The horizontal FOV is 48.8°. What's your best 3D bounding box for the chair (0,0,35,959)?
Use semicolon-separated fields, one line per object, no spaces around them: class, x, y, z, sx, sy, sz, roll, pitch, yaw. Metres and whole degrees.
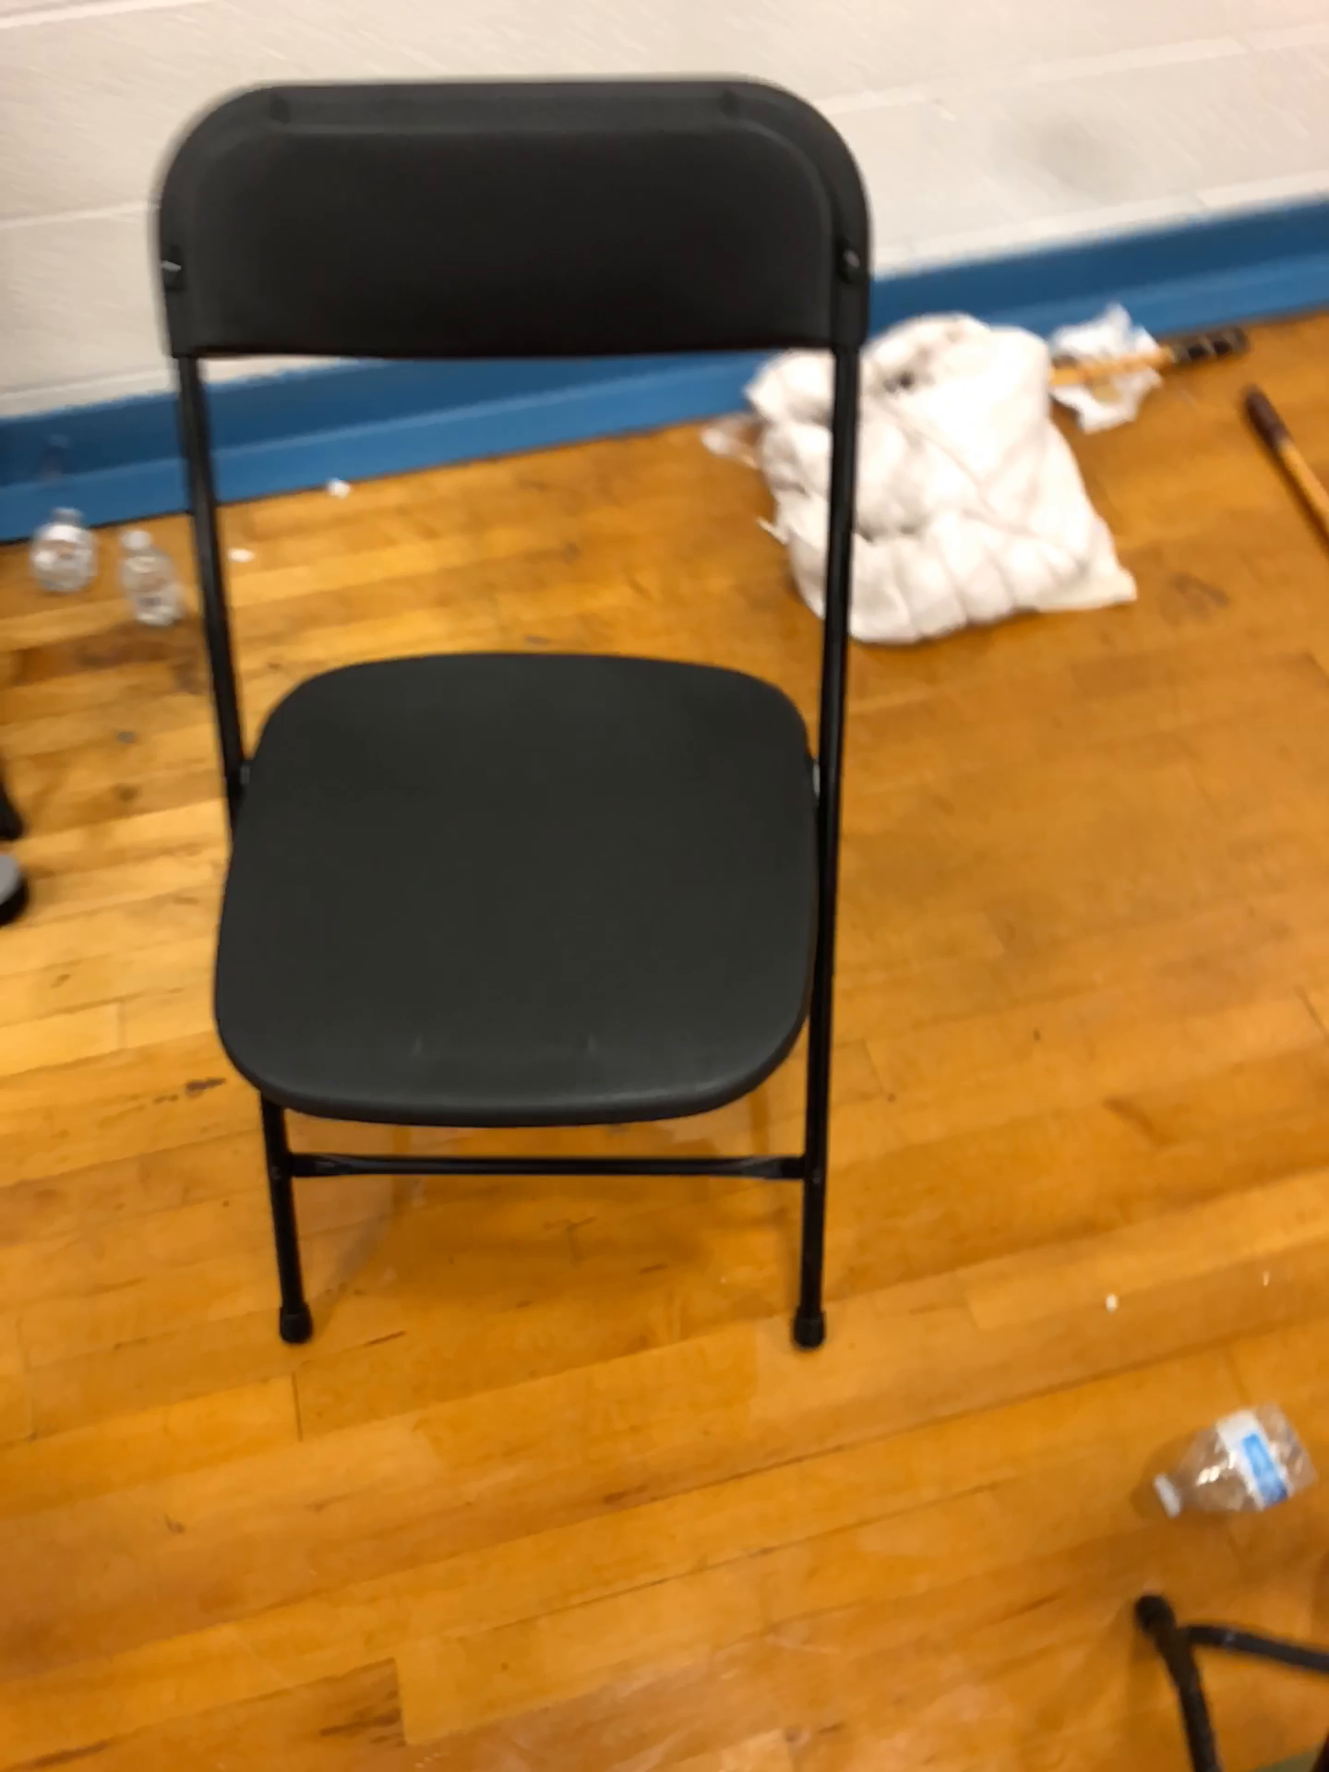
chair;-0.937;-0.432;1.272;0.481;0.791;0.545;-13;53;-9

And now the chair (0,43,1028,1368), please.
chair;-0.096;-0.063;0.985;0.471;0.721;0.525;0;52;1
